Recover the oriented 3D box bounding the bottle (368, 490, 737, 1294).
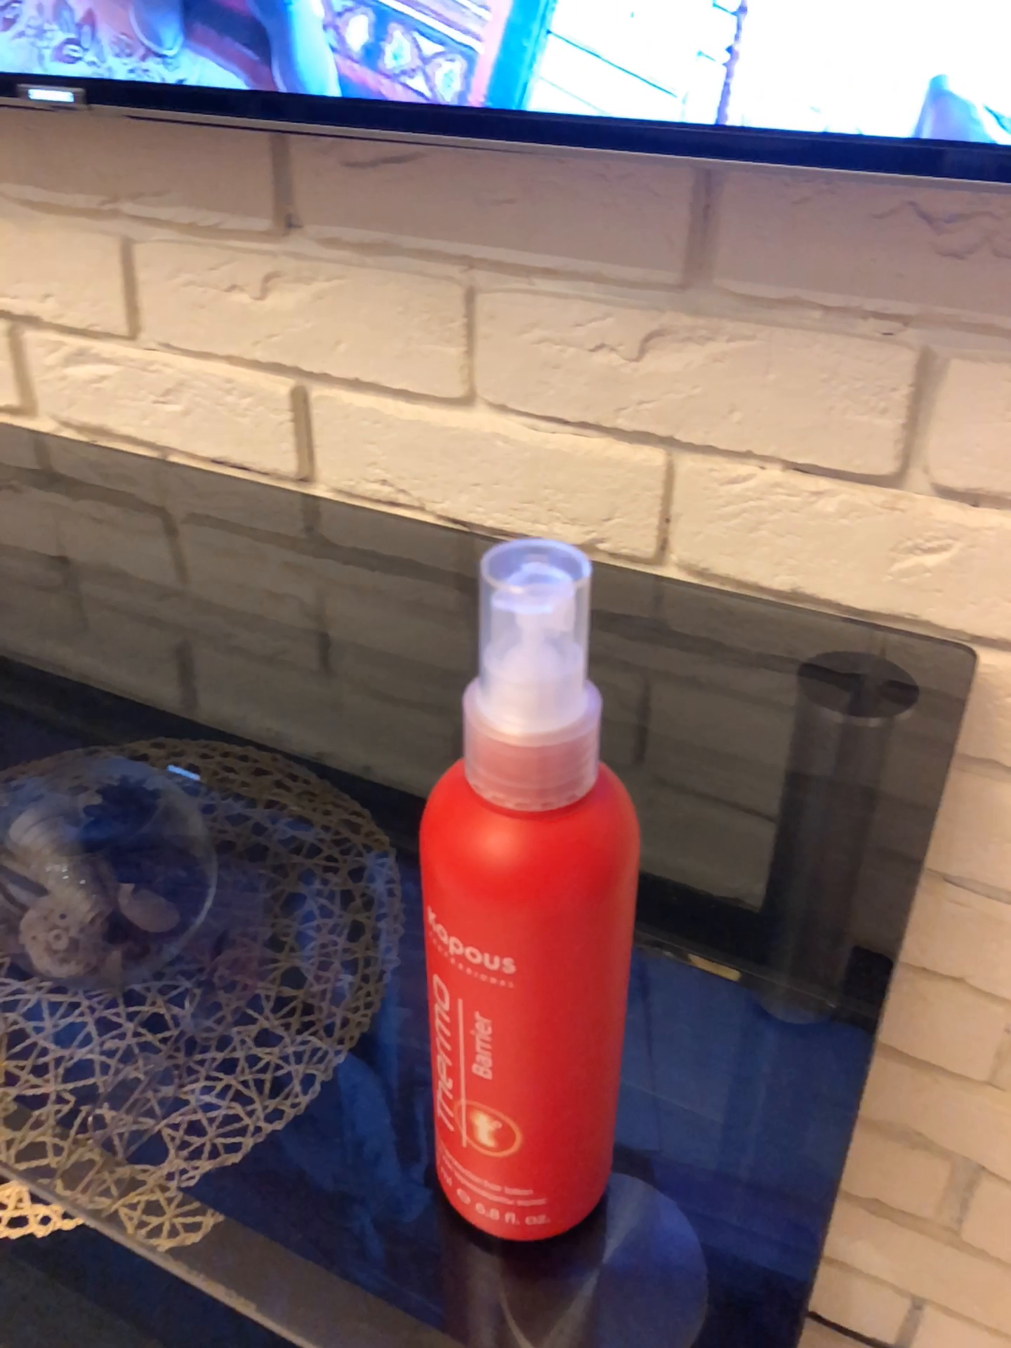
[{"bbox_3d":[0.009,0.056,0.251,0.048,0.179,0.052,1,32,0],"label":"bottle"}]
